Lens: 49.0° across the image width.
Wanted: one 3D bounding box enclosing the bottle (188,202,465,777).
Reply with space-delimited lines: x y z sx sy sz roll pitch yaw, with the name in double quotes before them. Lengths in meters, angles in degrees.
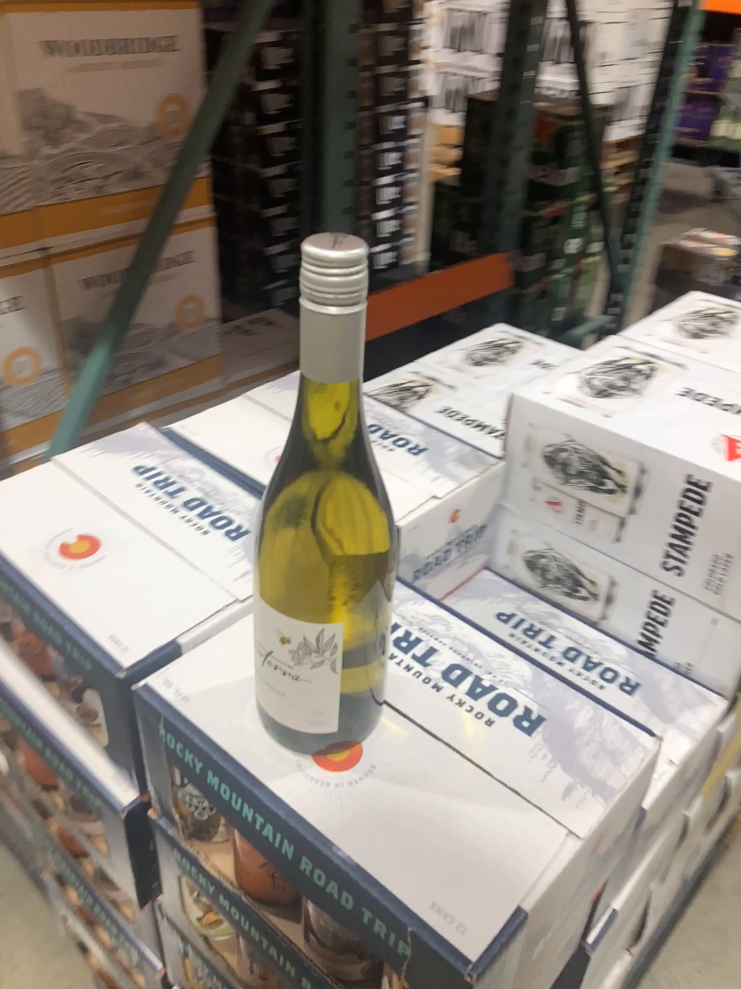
"bottle" -0.027 0.007 0.431 0.084 0.284 0.090 2 34 -1
